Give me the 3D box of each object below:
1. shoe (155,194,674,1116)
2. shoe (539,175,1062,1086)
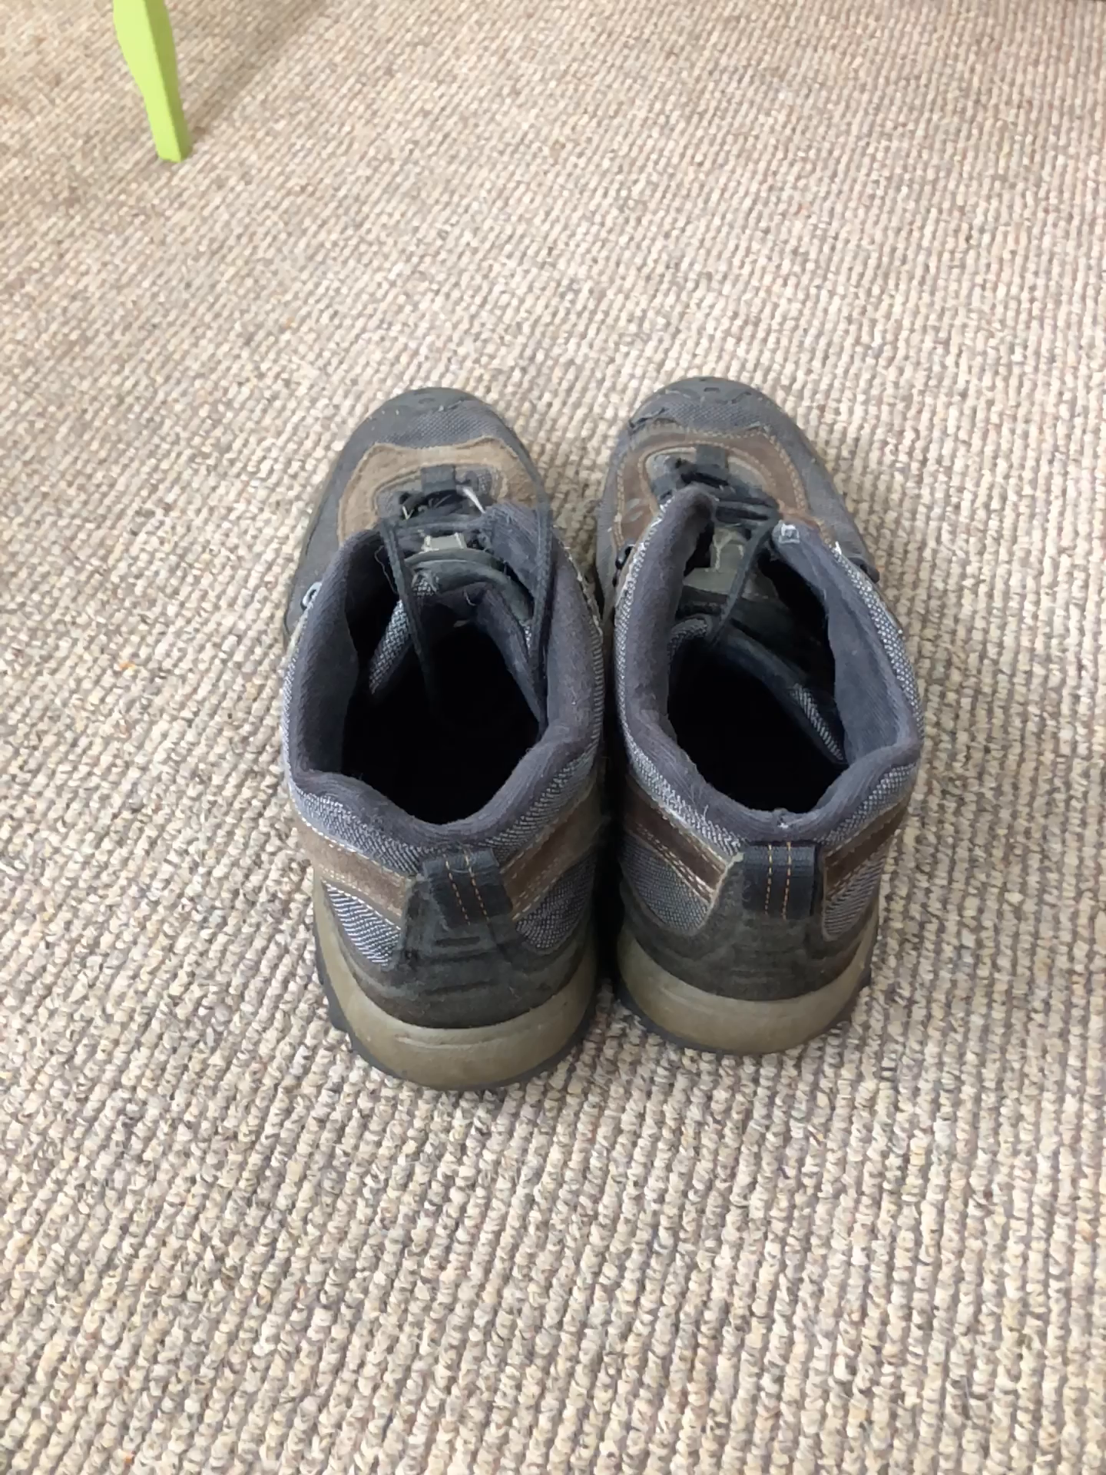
[{"bbox_3d":[-0.046,-0.040,0.411,0.116,0.135,0.281,-4,54,-4],"label":"shoe"},{"bbox_3d":[0.069,-0.048,0.418,0.118,0.137,0.281,5,54,2],"label":"shoe"}]
